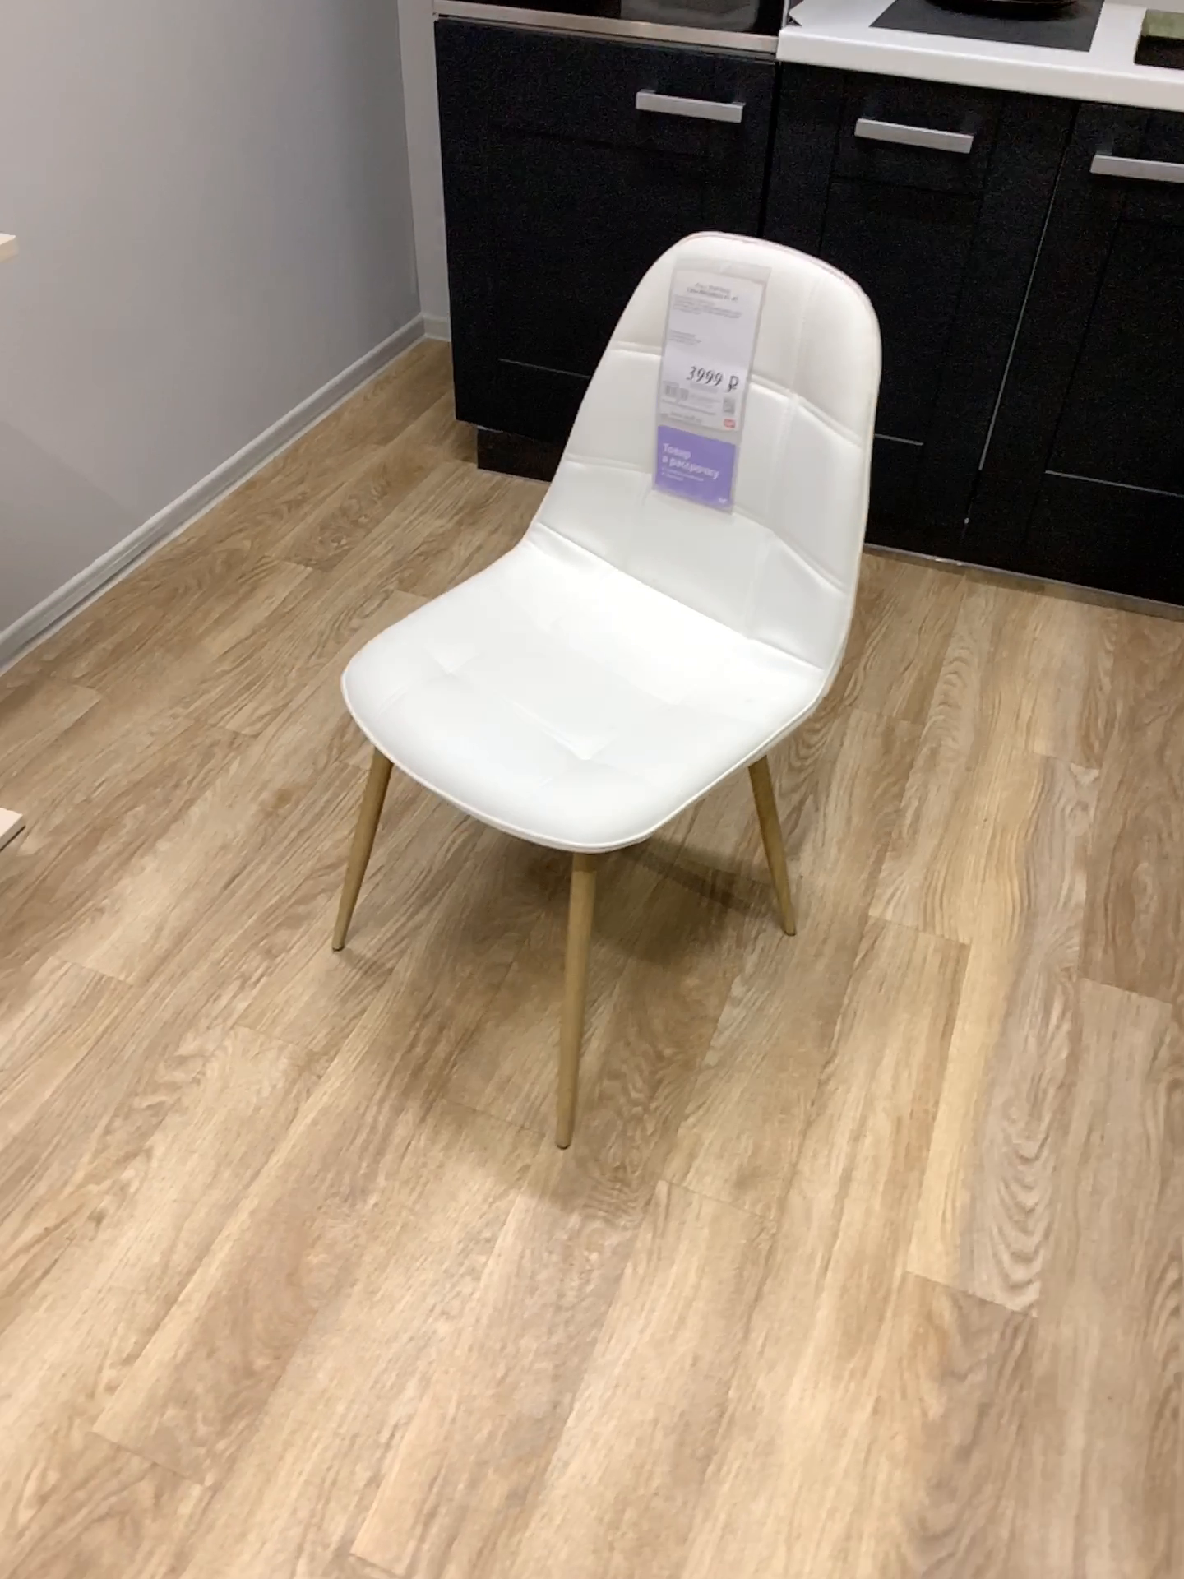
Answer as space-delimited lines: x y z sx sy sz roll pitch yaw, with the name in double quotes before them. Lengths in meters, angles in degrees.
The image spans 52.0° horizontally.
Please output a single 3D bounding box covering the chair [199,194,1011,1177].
"chair" 0.014 -0.115 1.370 0.471 0.825 0.572 33 51 29
